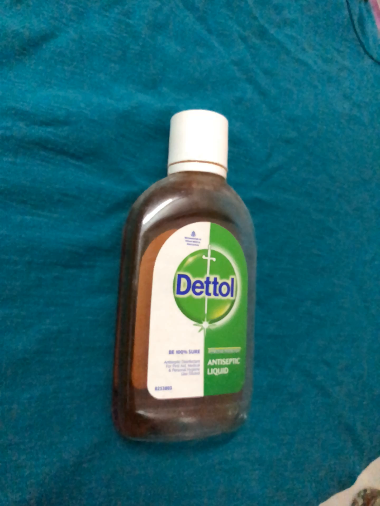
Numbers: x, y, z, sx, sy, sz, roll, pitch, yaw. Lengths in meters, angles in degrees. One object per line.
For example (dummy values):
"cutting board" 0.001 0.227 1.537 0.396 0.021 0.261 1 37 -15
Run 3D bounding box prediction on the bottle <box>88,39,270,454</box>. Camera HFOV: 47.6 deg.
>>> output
"bottle" -0.002 -0.003 0.224 0.080 0.040 0.180 7 80 -35
